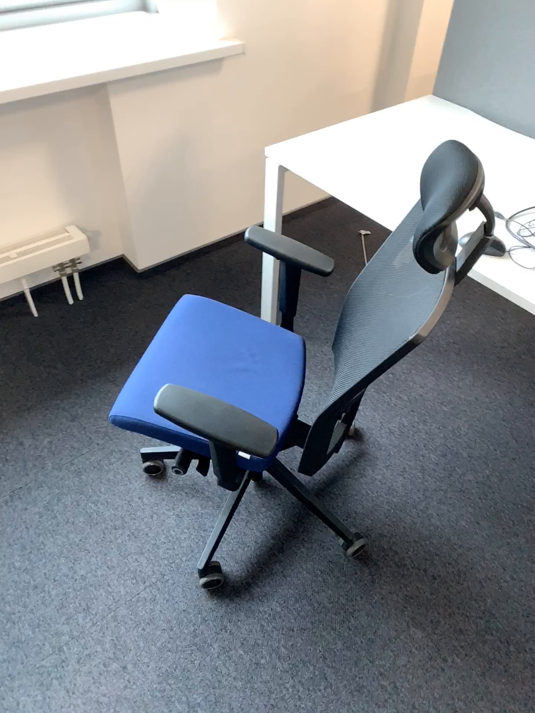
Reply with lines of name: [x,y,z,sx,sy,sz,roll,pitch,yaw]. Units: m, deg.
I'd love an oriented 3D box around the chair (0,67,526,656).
chair: [0.024,0.025,1.356,0.790,1.074,0.754,16,46,13]
